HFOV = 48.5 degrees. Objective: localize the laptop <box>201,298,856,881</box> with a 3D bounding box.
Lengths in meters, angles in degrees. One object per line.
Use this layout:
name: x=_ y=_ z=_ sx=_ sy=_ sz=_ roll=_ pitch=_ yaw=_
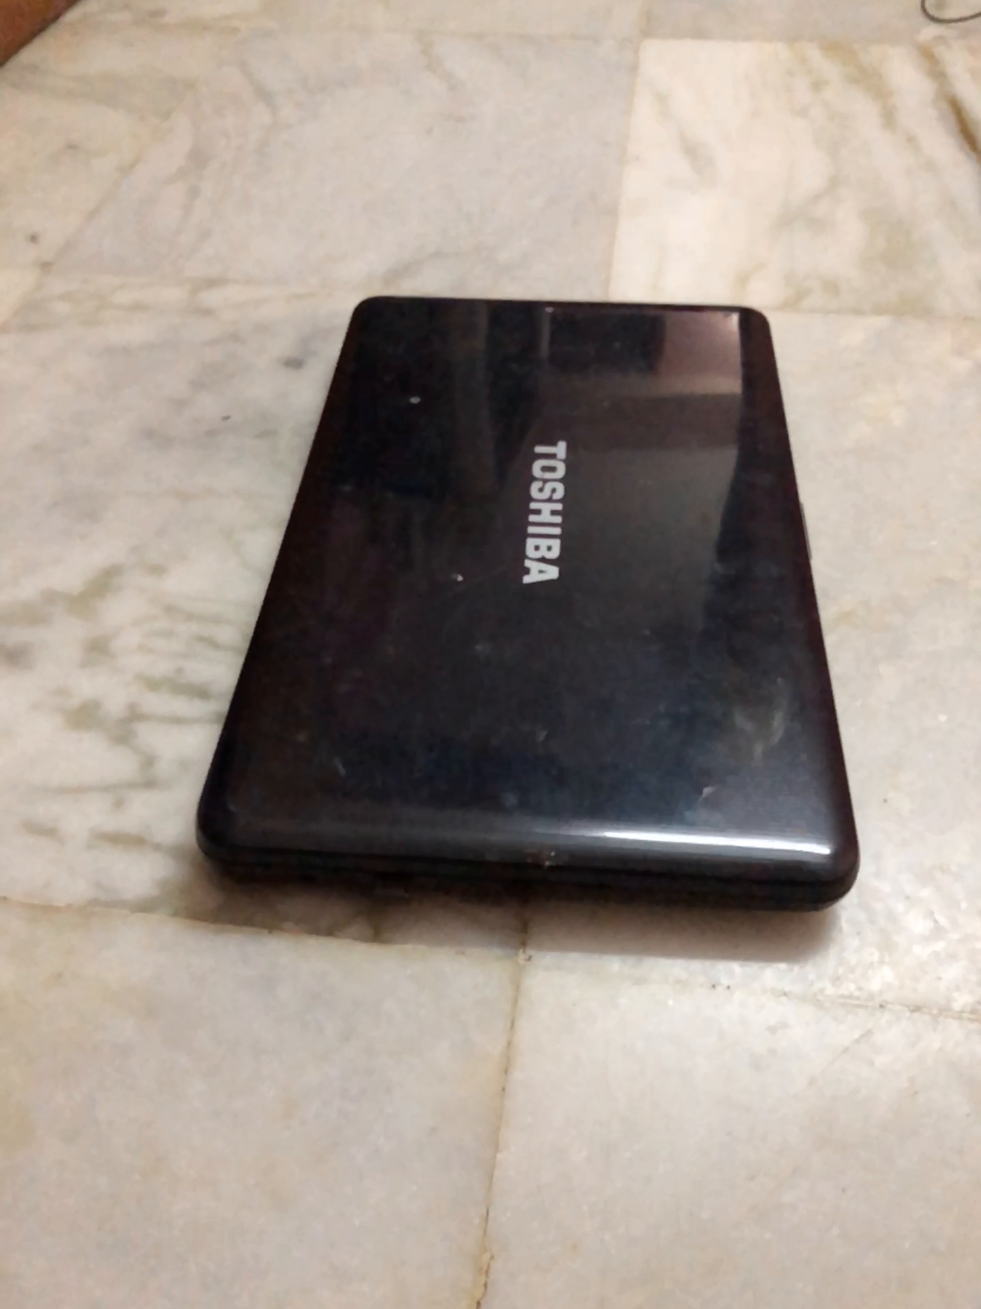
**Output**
laptop: x=0.026 y=-0.063 z=0.495 sx=0.224 sy=0.004 sz=0.361 roll=3 pitch=48 yaw=3
